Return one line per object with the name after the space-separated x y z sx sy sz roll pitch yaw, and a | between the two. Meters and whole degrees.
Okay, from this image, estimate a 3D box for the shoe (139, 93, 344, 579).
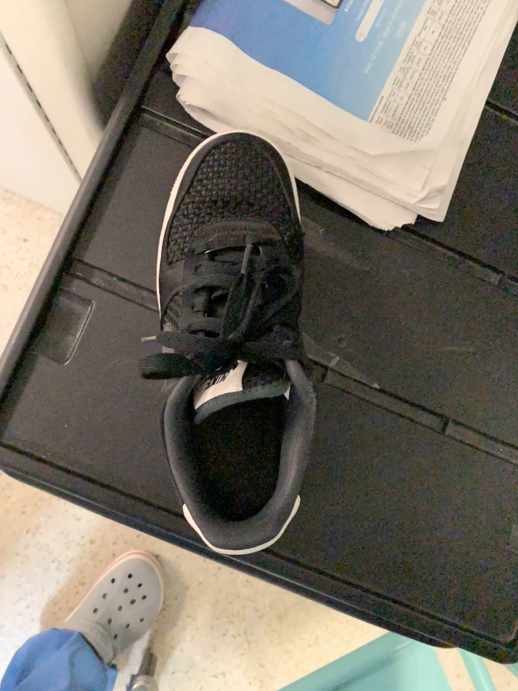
-0.014 -0.006 0.299 0.089 0.094 0.224 -2 87 -7 | shoe
